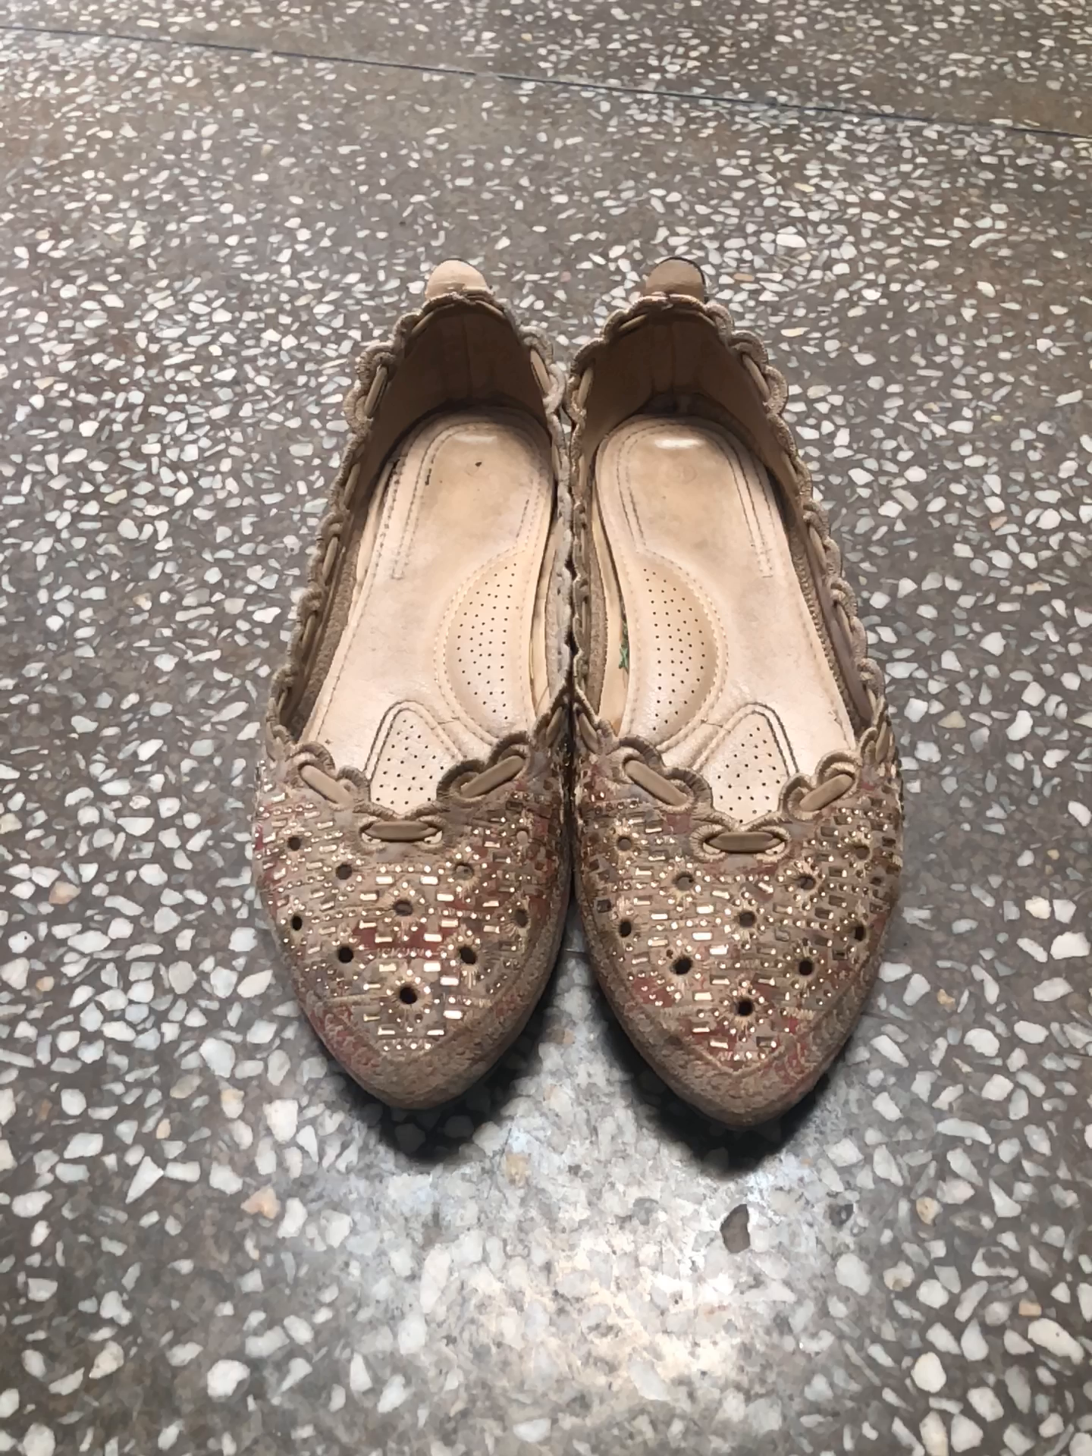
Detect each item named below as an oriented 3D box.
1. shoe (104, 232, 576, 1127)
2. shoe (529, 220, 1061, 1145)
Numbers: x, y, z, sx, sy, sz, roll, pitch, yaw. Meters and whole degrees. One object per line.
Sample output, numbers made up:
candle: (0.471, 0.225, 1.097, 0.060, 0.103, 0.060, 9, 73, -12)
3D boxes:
shoe: (-0.037, -0.030, 0.332, 0.089, 0.068, 0.255, 0, 55, 2)
shoe: (0.046, -0.030, 0.325, 0.089, 0.068, 0.255, -3, 55, 0)
